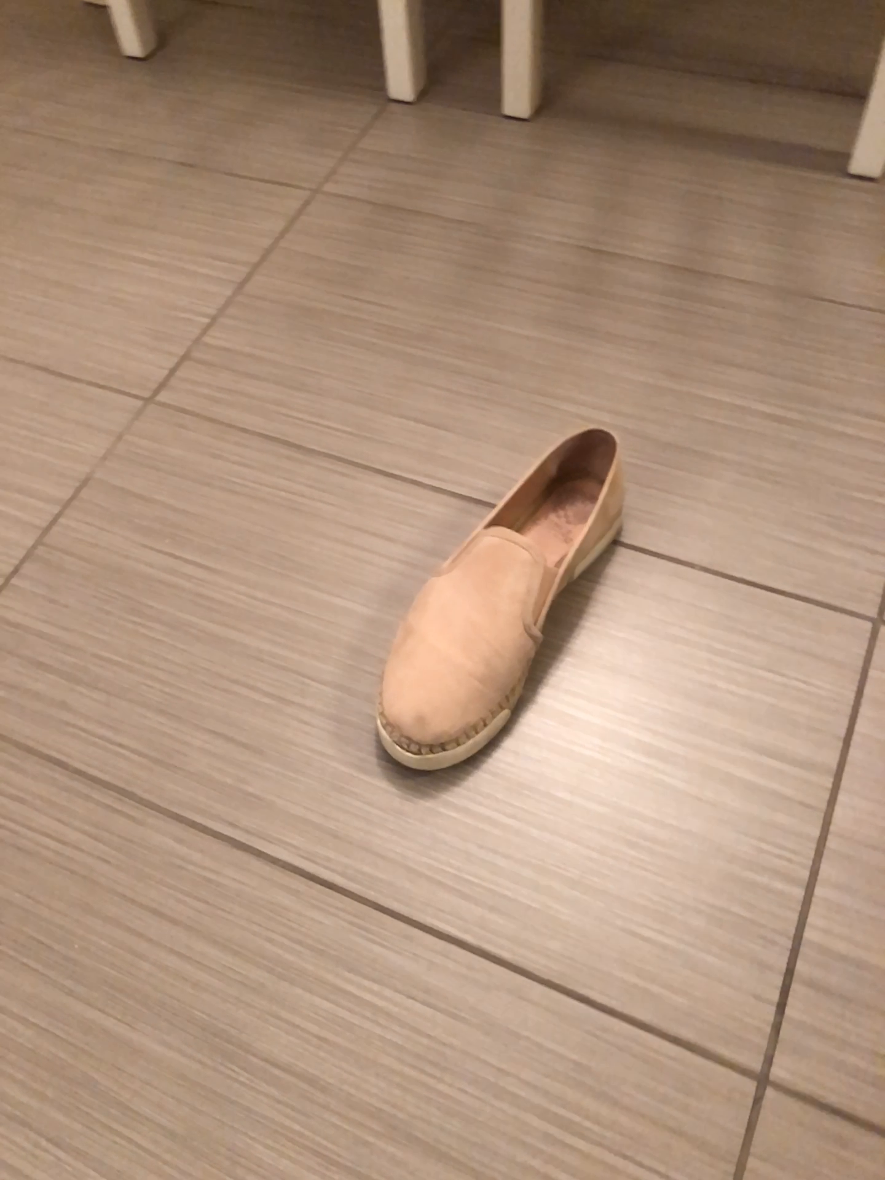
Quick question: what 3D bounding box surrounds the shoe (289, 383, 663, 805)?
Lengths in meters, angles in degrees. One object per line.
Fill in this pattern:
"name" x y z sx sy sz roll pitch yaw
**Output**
"shoe" 0.032 -0.008 0.647 0.110 0.070 0.271 26 63 22
